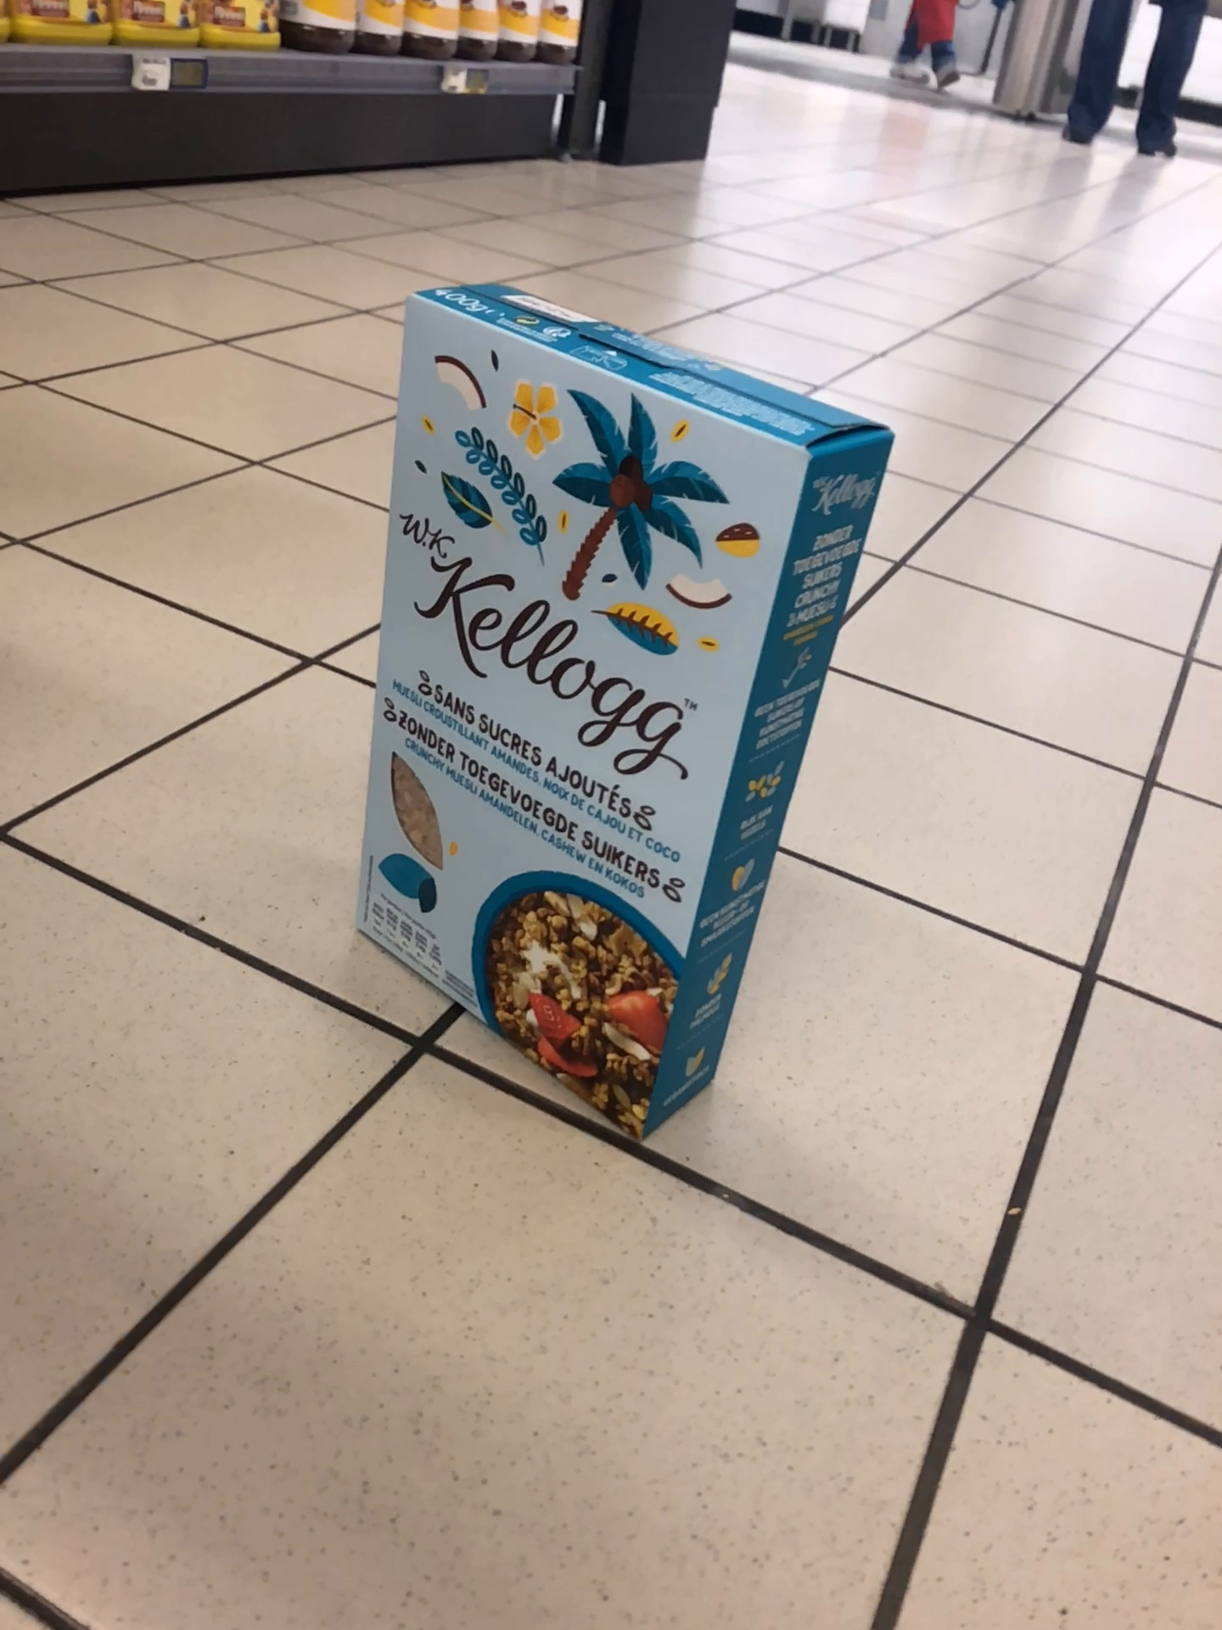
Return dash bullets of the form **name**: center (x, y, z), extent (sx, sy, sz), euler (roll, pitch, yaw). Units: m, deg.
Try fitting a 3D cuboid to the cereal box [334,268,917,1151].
- **cereal box**: center (-0.013, -0.033, 0.440), extent (0.160, 0.238, 0.050), euler (31, 37, 30)
